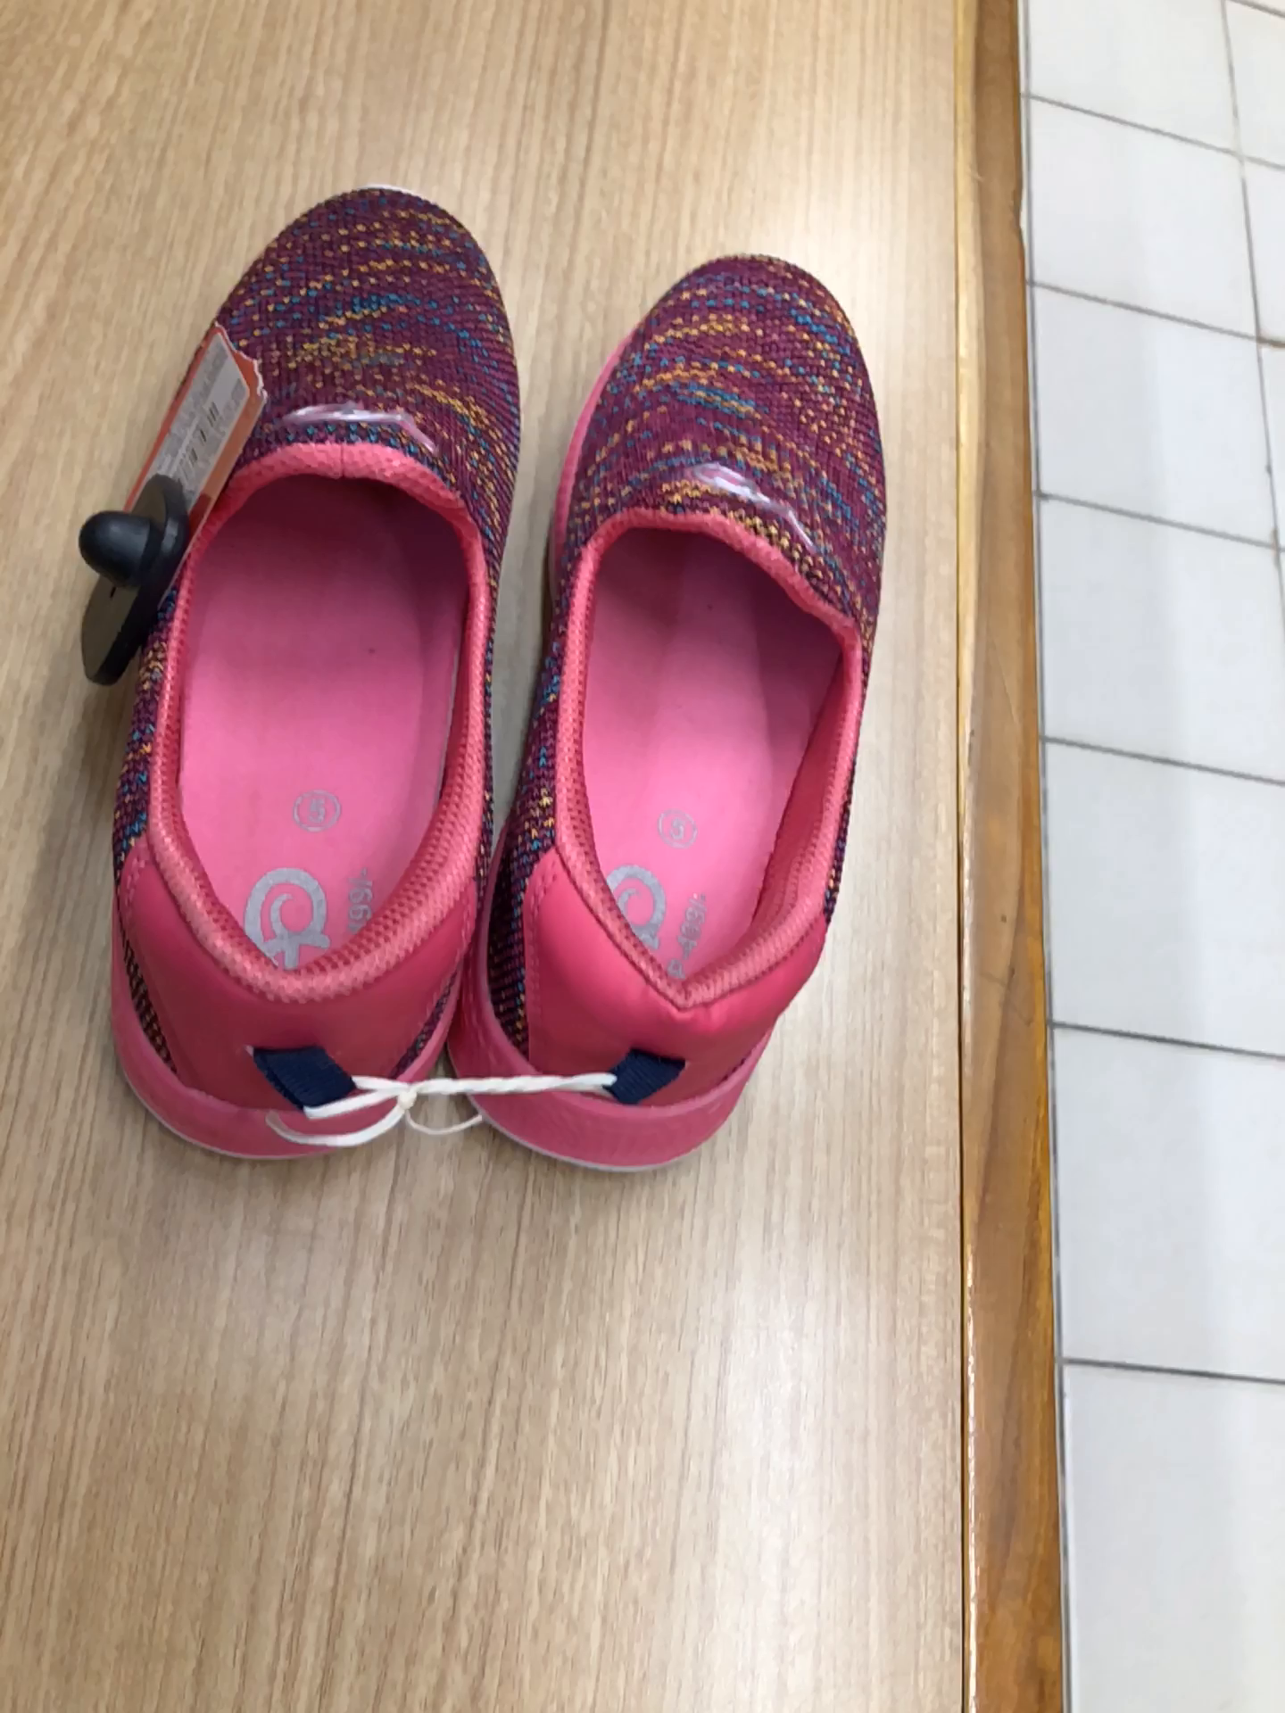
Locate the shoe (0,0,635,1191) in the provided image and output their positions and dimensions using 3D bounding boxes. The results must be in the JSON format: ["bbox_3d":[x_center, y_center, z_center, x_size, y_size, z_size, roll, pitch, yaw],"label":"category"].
[{"bbox_3d":[-0.069,-0.063,0.304,0.105,0.103,0.245,7,68,-12],"label":"shoe"}]

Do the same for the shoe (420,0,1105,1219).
[{"bbox_3d":[0.029,-0.055,0.326,0.105,0.103,0.245,12,67,-9],"label":"shoe"}]
